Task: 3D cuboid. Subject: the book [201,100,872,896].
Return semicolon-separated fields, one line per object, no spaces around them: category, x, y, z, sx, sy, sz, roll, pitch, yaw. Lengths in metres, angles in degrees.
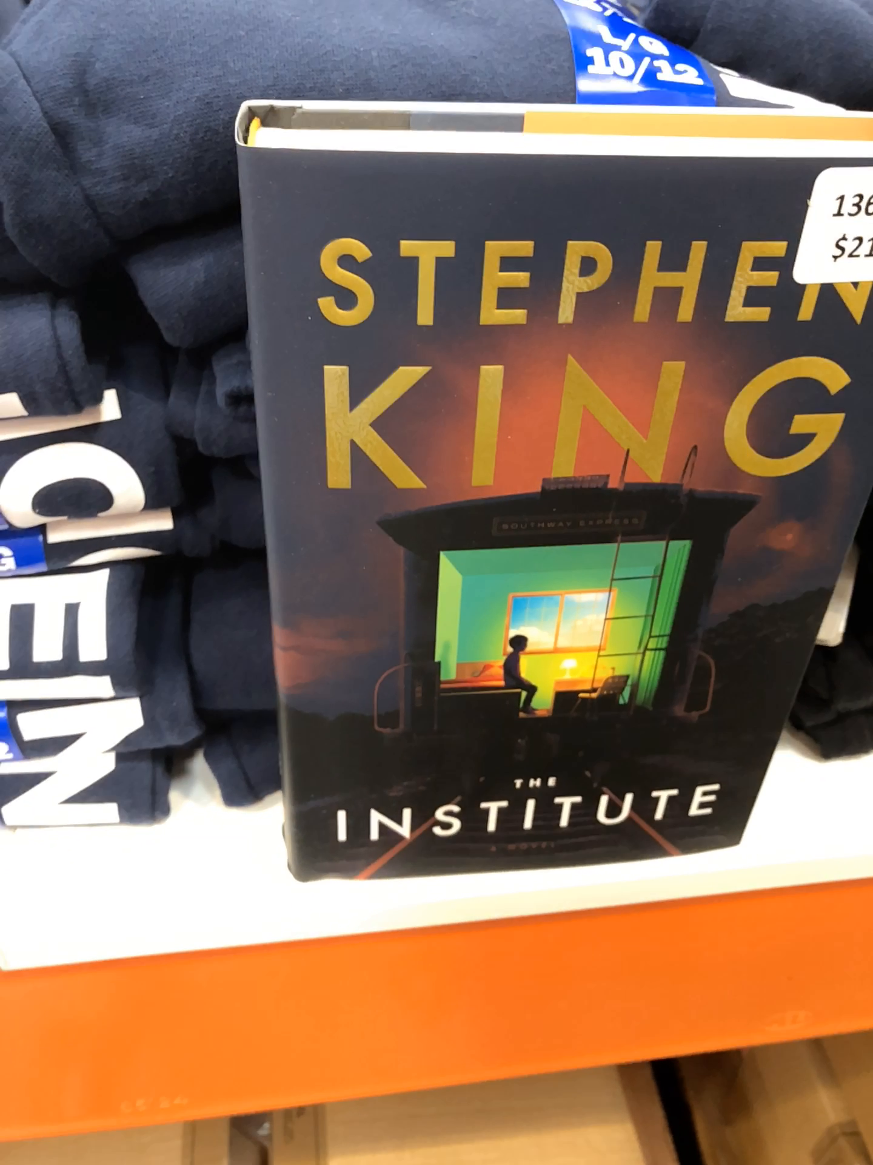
book;0.030;-0.009;0.285;0.167;0.229;0.050;-3;36;-7
